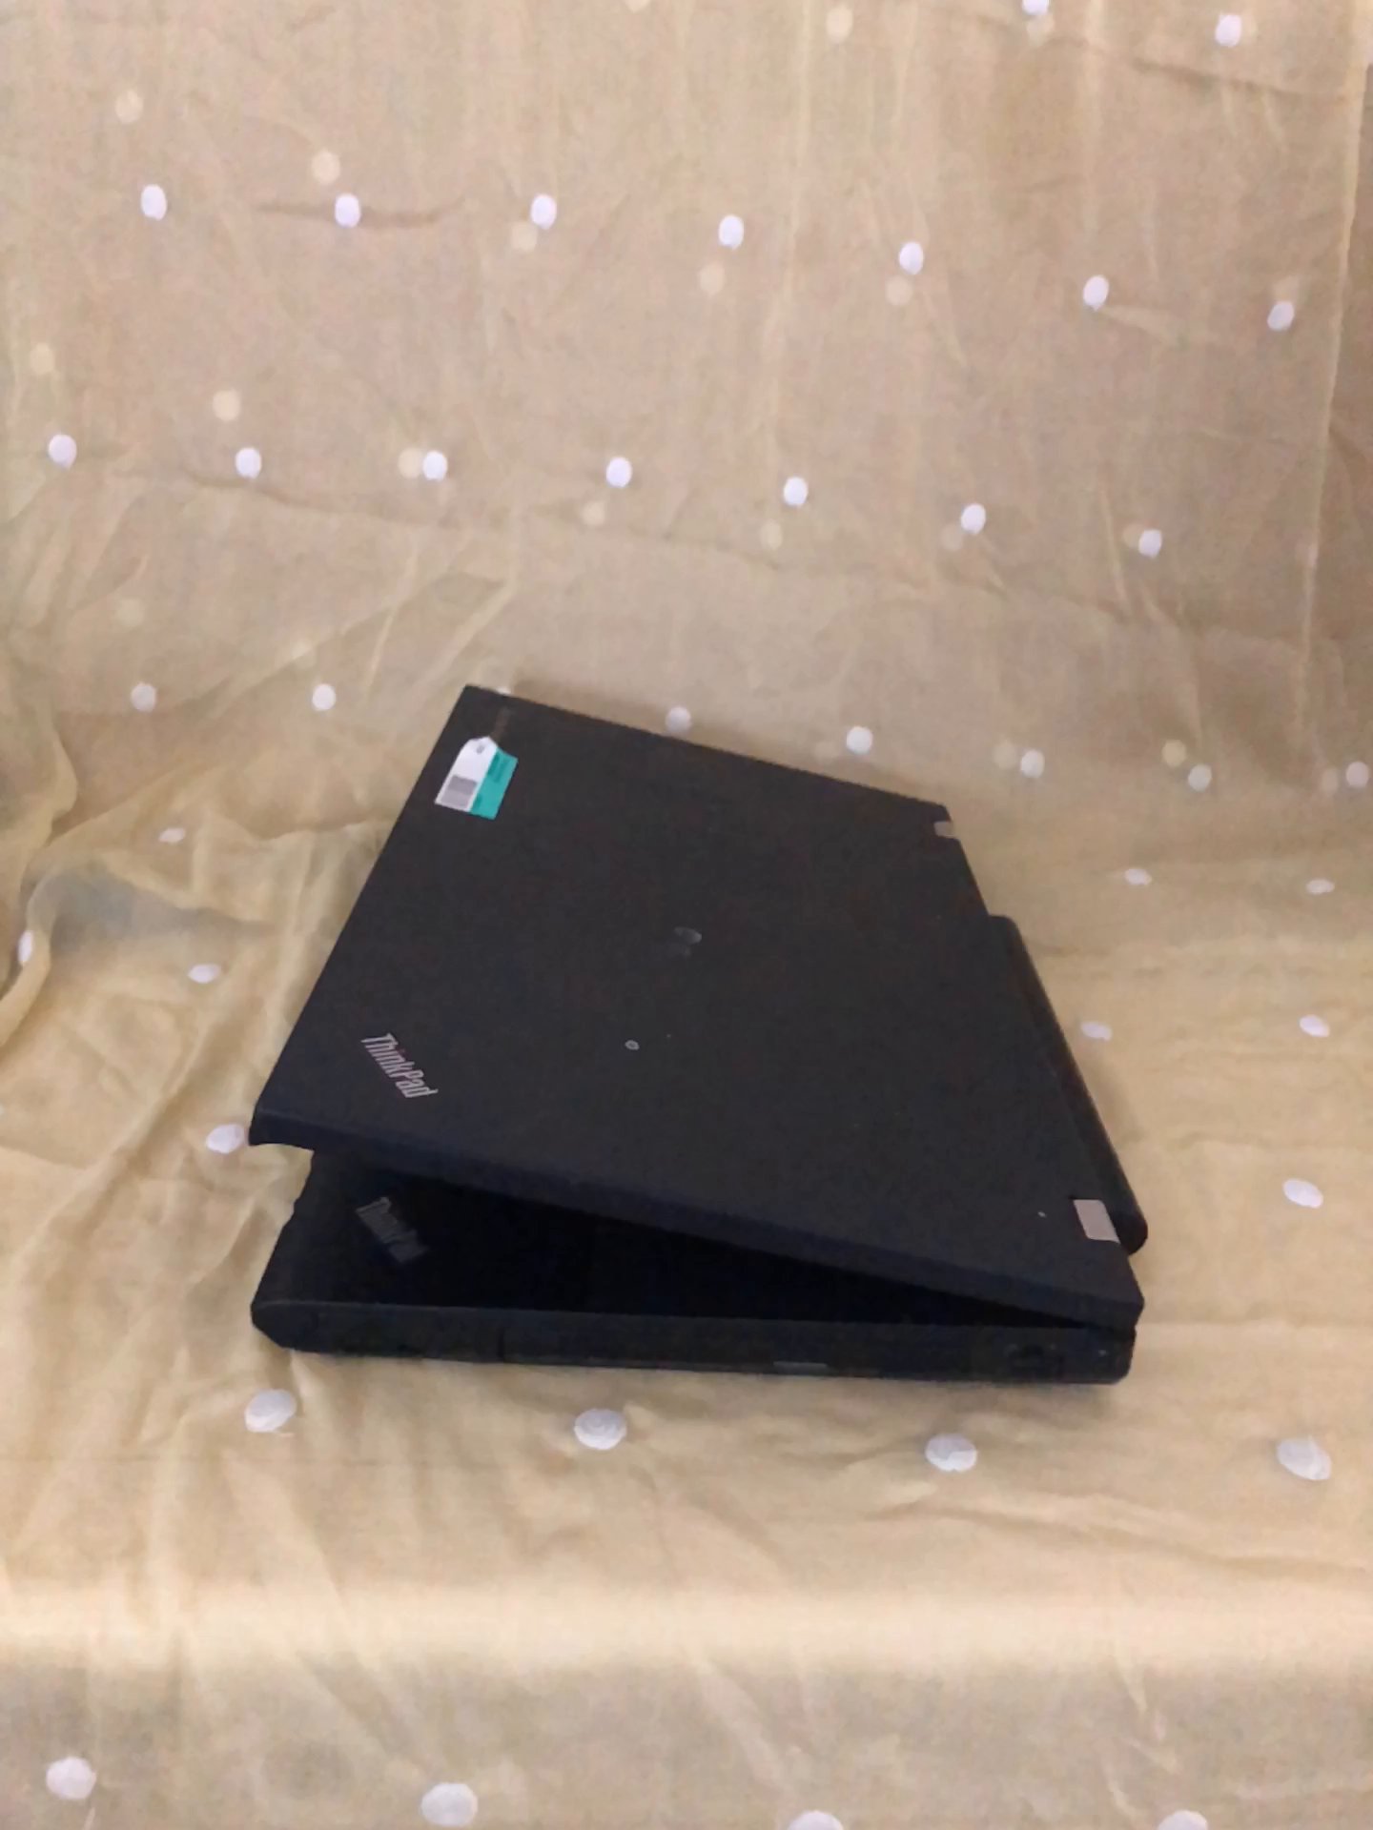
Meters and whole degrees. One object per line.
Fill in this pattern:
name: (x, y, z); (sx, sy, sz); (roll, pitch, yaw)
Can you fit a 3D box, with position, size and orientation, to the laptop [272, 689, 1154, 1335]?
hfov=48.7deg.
laptop: (0.007, 0.002, 0.557); (0.225, 0.050, 0.358); (2, 26, 2)
